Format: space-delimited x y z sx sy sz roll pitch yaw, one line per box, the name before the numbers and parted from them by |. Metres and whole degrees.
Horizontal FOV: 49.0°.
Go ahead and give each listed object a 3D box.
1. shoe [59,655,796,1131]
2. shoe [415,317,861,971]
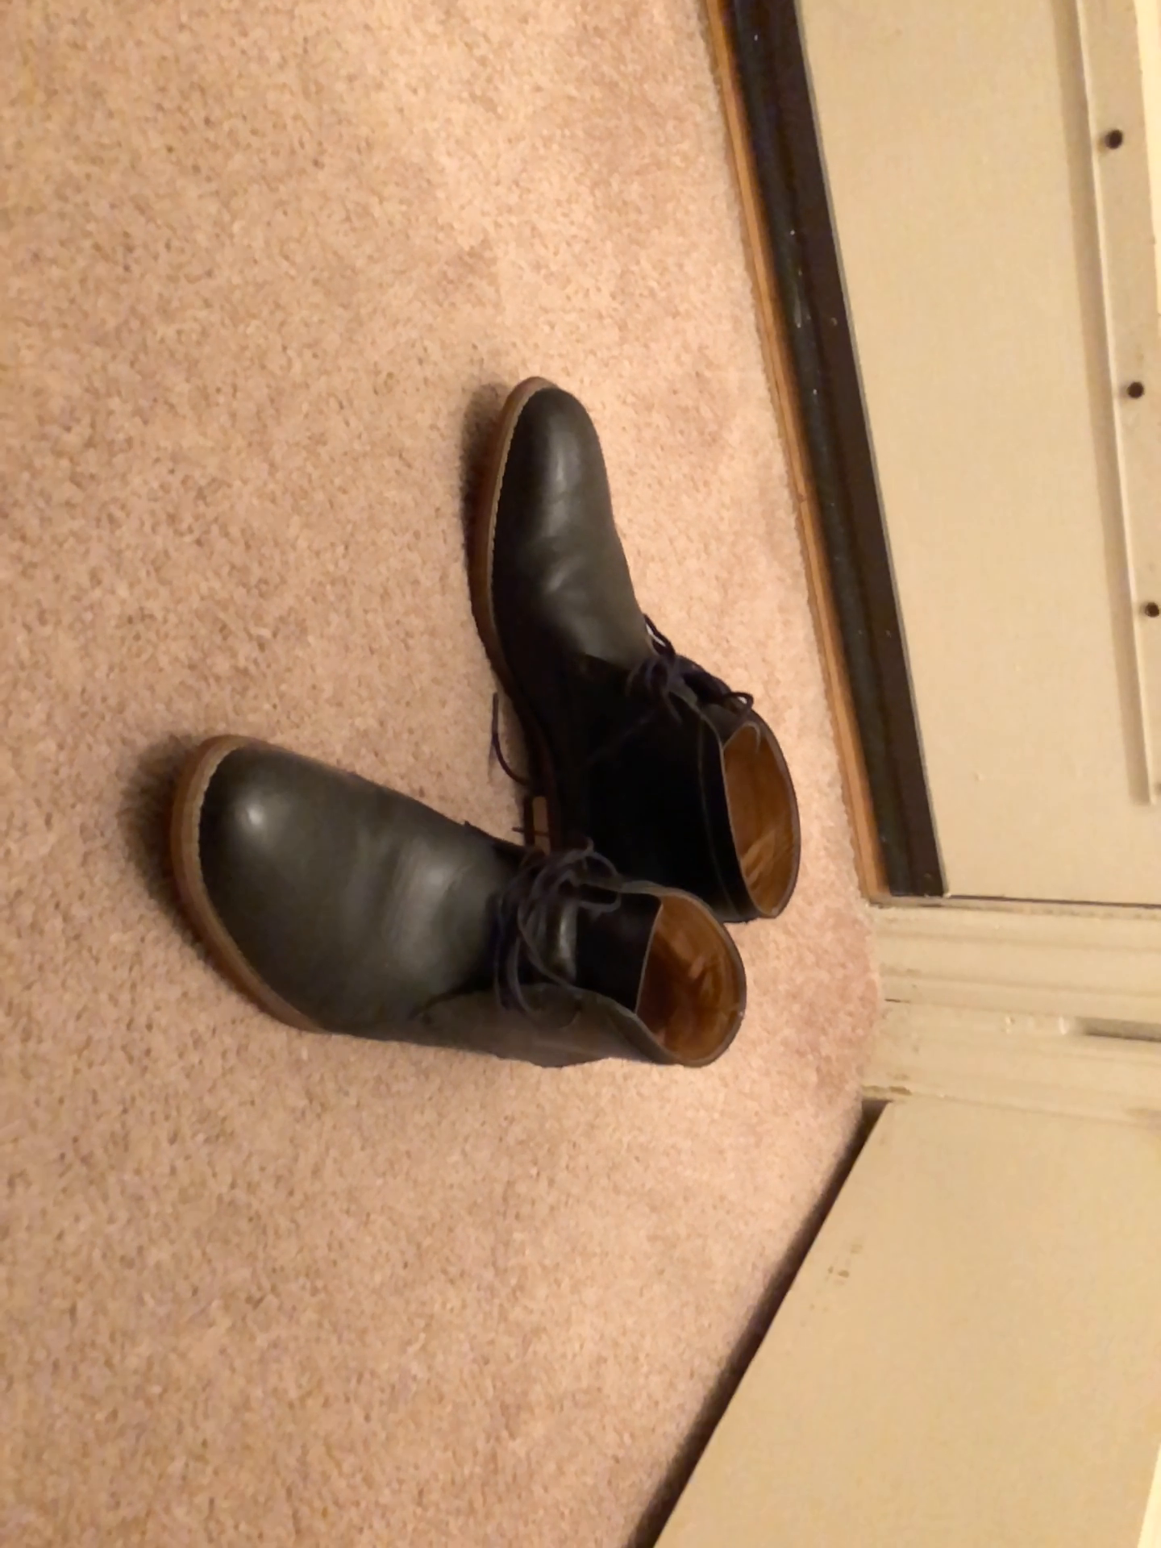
shoe | -0.037 0.067 0.547 0.303 0.135 0.116 32 63 -52
shoe | 0.040 -0.063 0.668 0.117 0.135 0.302 -38 120 -50
